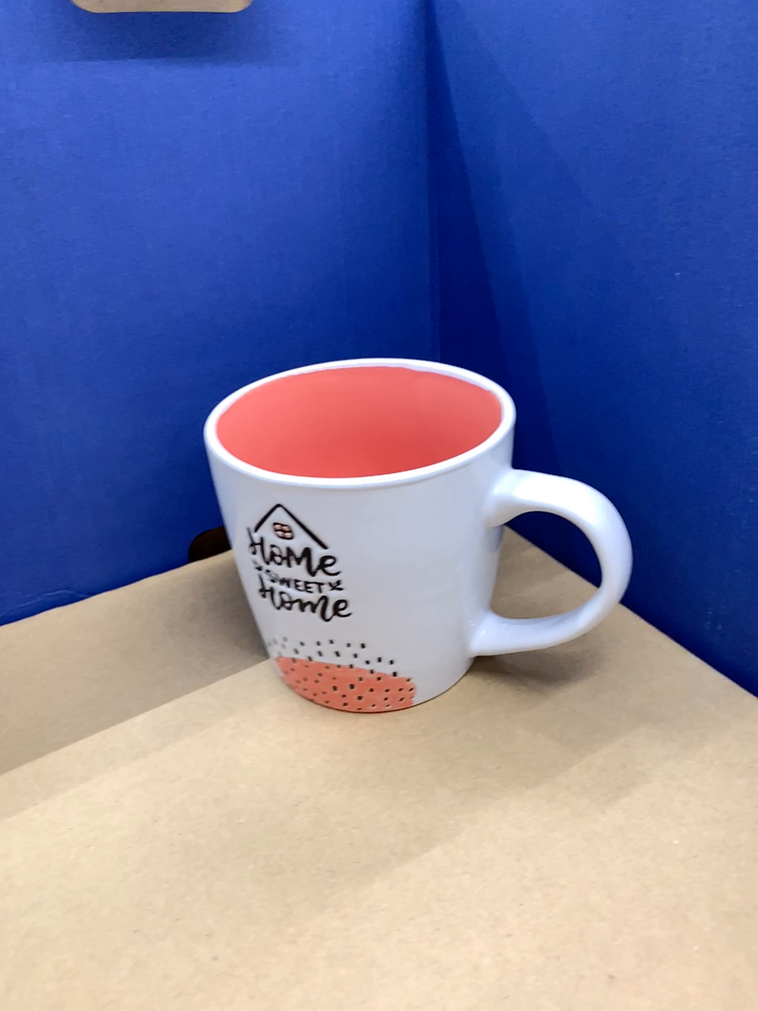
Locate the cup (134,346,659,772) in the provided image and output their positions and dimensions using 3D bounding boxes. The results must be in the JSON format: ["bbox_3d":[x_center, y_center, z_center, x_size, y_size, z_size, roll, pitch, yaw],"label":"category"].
[{"bbox_3d":[0.011,0.005,0.223,0.115,0.070,0.083,8,30,21],"label":"cup"}]
